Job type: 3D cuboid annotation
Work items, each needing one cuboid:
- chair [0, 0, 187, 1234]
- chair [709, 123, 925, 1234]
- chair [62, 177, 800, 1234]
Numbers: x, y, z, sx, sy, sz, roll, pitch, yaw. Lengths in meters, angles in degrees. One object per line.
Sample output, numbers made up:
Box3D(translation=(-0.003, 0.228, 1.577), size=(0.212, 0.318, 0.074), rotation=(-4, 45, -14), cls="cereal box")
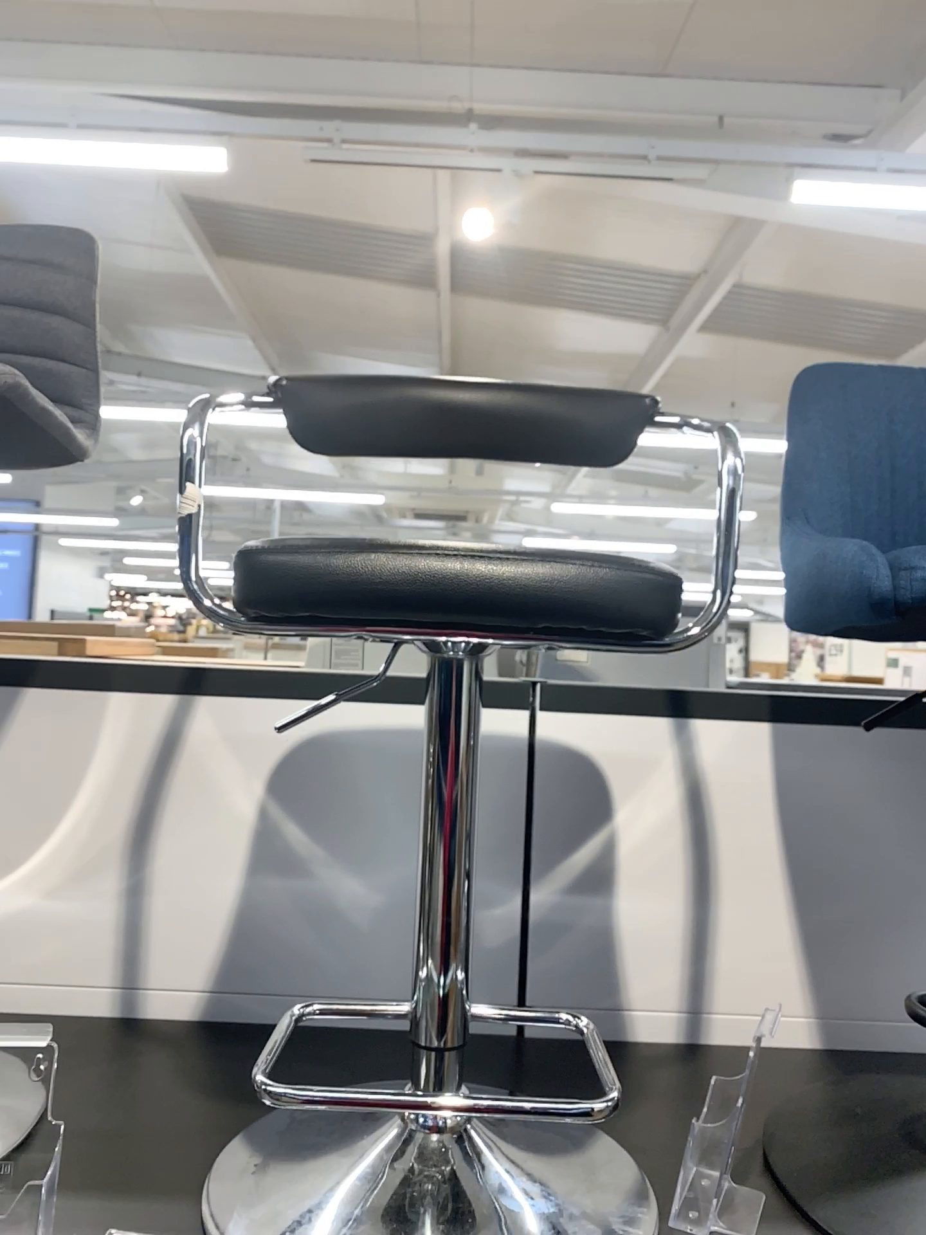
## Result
Box3D(translation=(-0.636, -0.010, 1.010), size=(0.511, 1.065, 0.466), rotation=(3, -3, -4), cls="chair")
Box3D(translation=(0.601, 0.104, 0.997), size=(0.521, 0.955, 0.536), rotation=(3, -3, 1), cls="chair")
Box3D(translation=(-0.024, 0.113, 0.948), size=(0.511, 0.855, 0.466), rotation=(3, -3, -4), cls="chair")
